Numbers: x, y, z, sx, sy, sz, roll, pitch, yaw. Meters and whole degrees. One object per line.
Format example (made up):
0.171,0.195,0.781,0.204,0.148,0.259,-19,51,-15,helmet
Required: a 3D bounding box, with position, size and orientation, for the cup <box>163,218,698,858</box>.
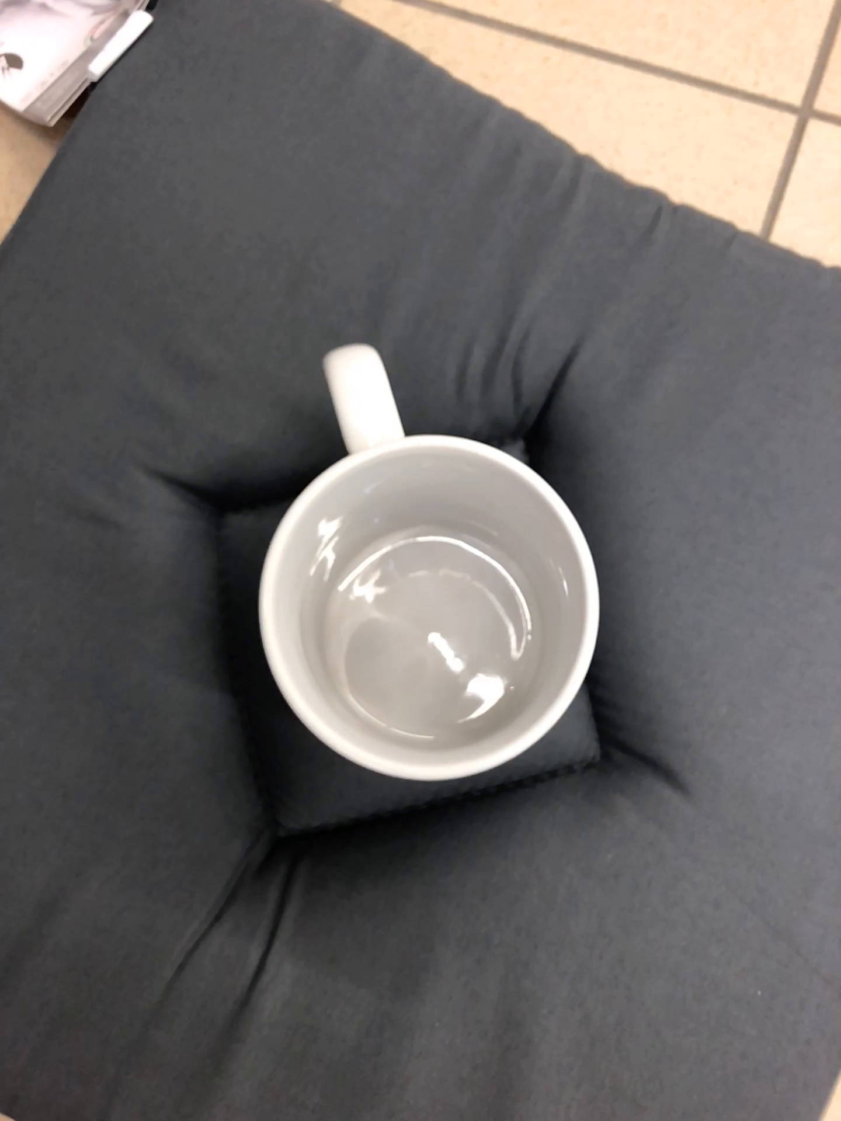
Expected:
0.001,-0.001,0.262,0.090,0.090,0.130,-17,79,0,cup
